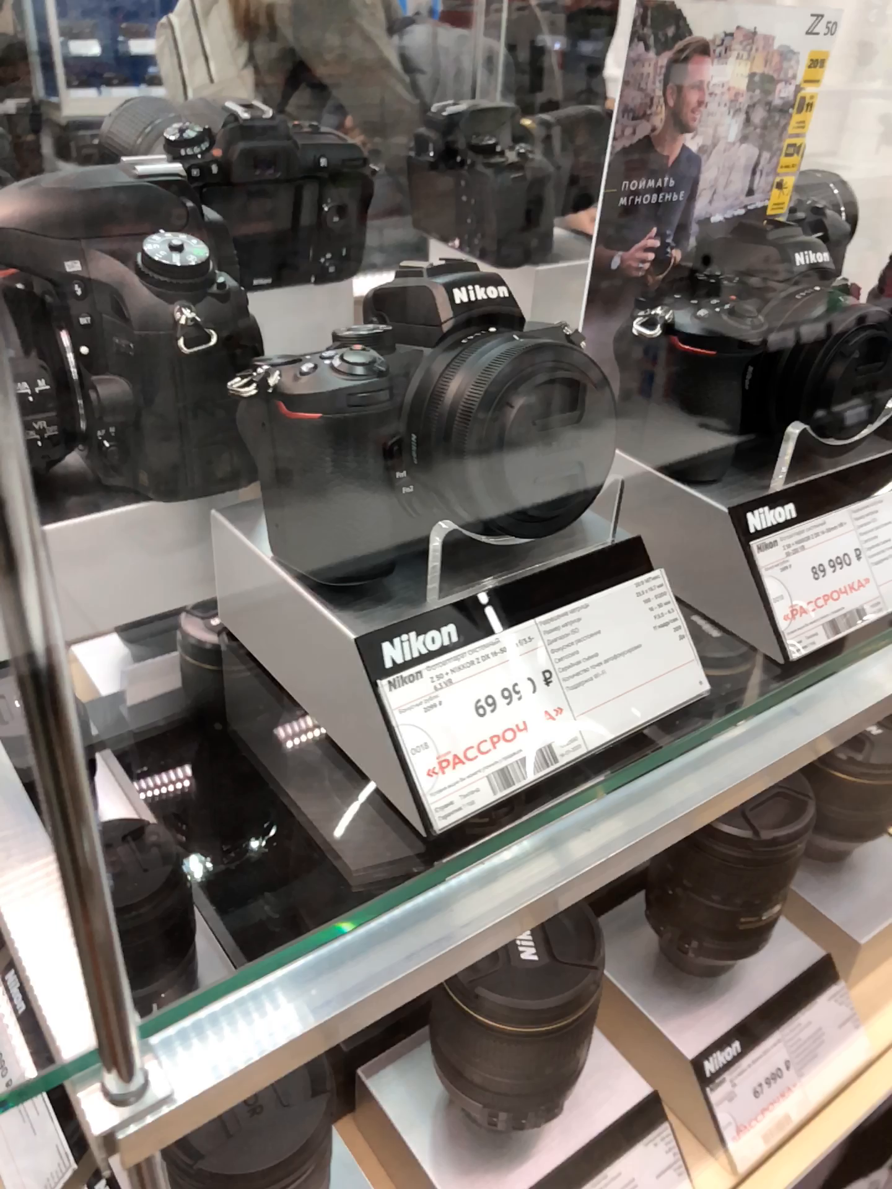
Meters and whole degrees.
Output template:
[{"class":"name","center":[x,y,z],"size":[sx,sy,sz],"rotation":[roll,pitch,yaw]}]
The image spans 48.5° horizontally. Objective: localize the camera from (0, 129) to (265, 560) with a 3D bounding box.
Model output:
[{"class":"camera","center":[-0.167,-0.106,0.381],"size":[0.150,0.111,0.130],"rotation":[-14,37,-31]}]

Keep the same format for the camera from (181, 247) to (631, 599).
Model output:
[{"class":"camera","center":[-0.011,-0.071,0.358],"size":[0.127,0.092,0.090],"rotation":[-18,27,-31]}]
